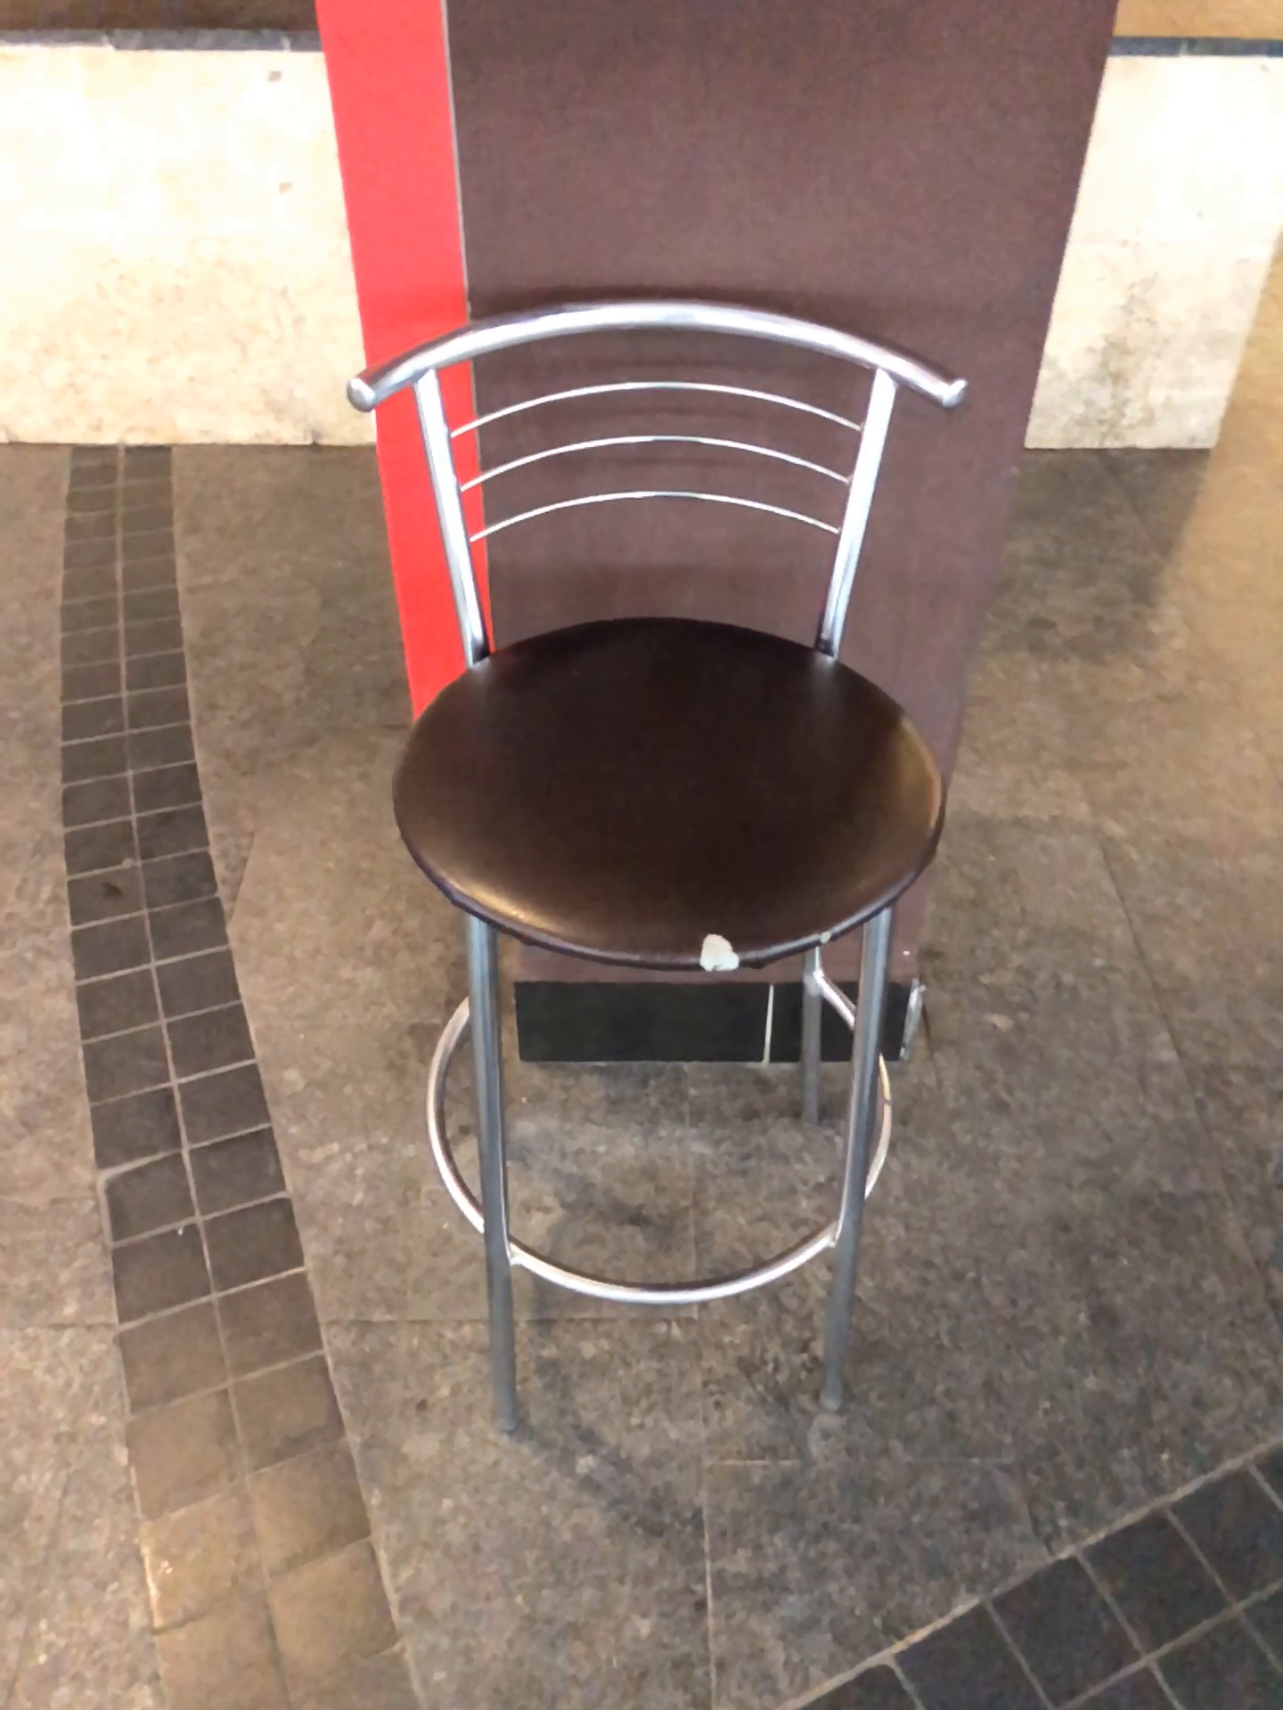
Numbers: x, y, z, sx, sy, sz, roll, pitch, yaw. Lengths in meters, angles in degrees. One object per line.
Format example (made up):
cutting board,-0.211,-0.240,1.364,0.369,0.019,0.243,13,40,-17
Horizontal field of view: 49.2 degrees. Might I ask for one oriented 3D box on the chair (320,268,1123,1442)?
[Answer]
chair,0.021,0.064,1.178,0.410,0.936,0.412,-3,43,-4
